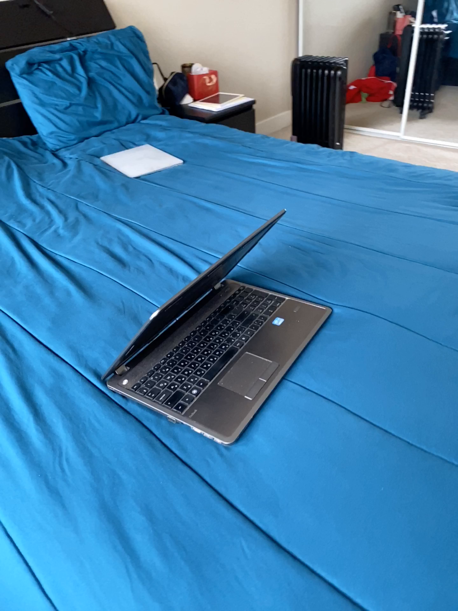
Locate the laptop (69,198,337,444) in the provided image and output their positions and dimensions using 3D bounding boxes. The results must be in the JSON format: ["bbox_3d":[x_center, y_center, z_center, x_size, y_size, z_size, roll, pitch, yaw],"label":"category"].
[{"bbox_3d":[-0.016,-0.008,0.787,0.256,0.192,0.370,17,40,29],"label":"laptop"}]
